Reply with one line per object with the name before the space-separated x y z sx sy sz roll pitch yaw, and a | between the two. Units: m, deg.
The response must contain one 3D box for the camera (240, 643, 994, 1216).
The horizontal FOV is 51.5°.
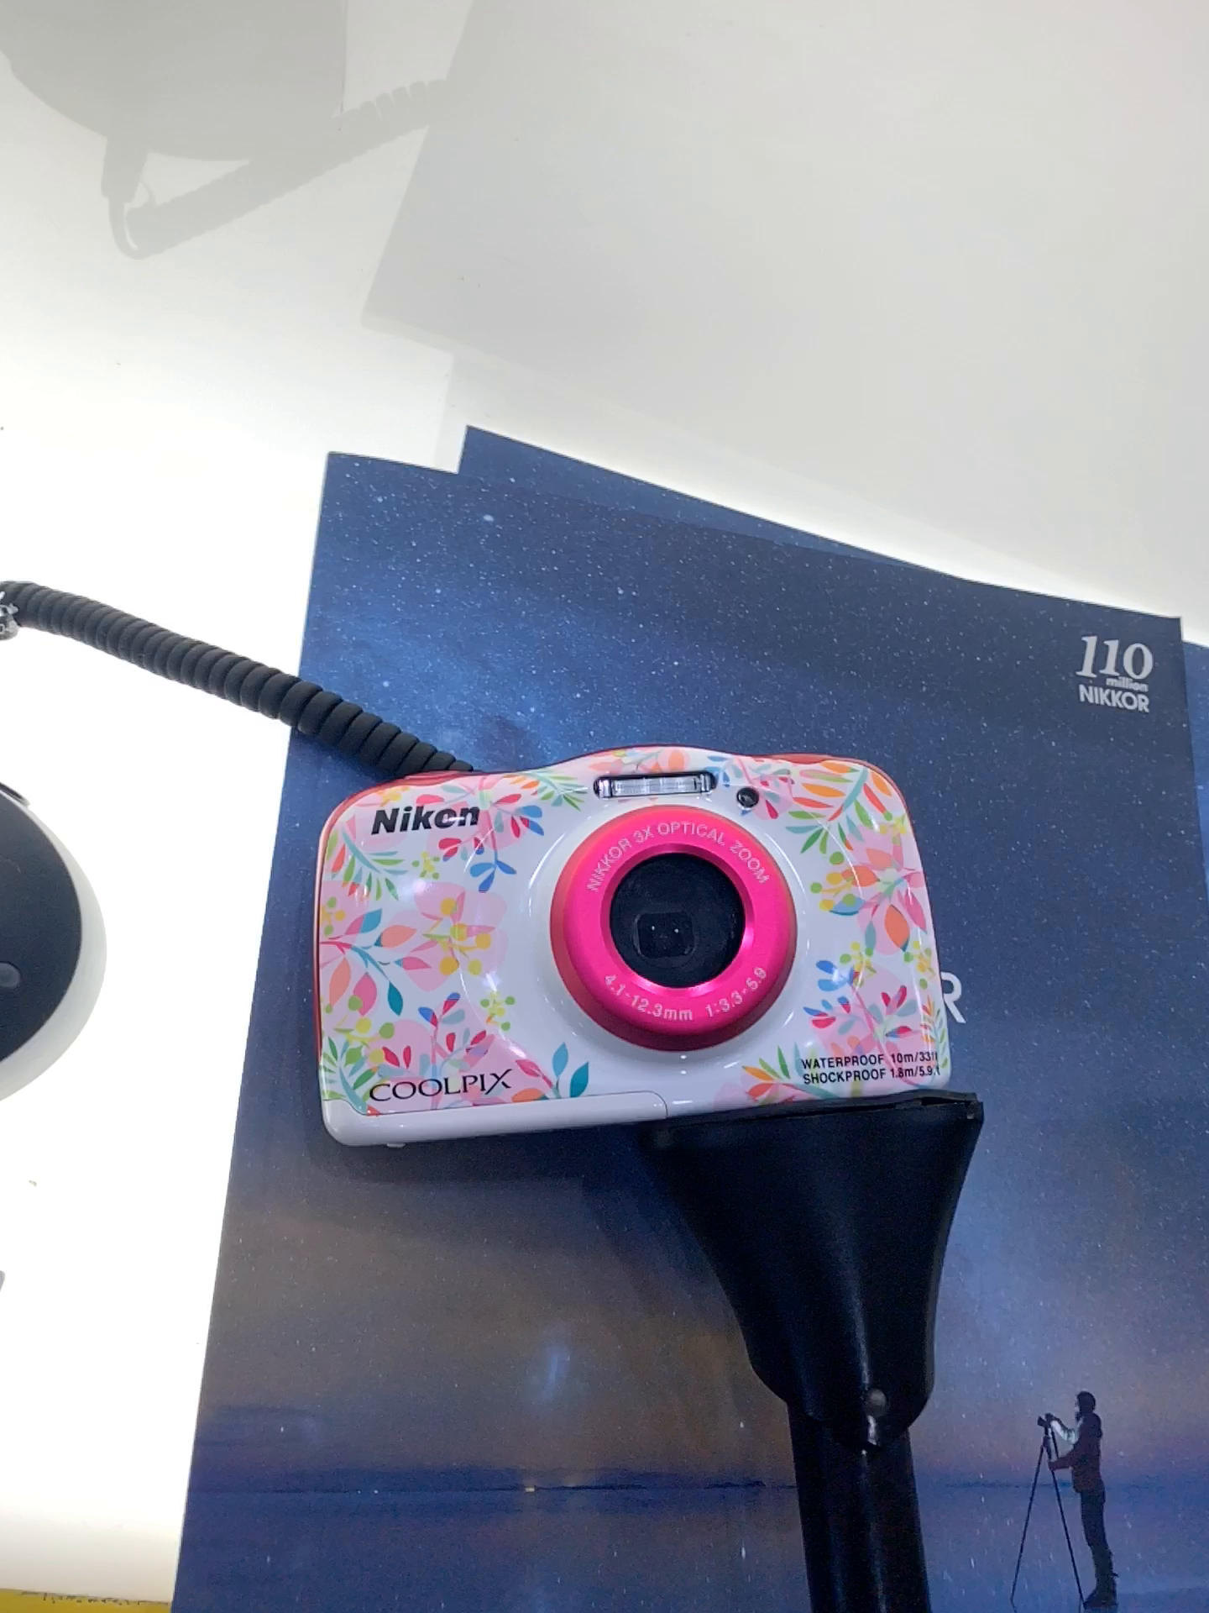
camera | -0.003 0.018 0.211 0.110 0.040 0.080 -1 66 -17
